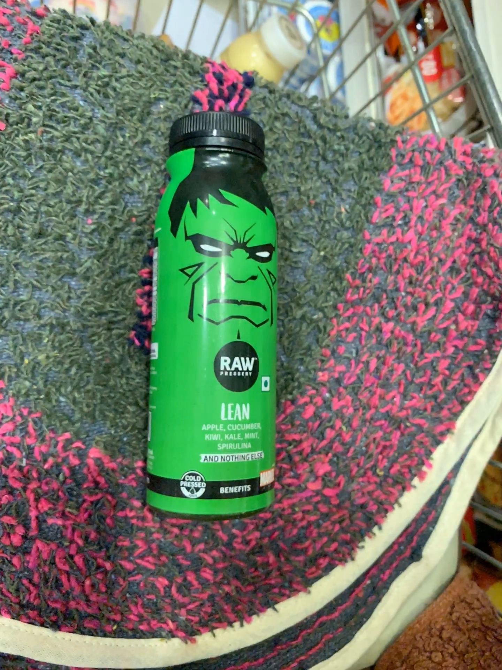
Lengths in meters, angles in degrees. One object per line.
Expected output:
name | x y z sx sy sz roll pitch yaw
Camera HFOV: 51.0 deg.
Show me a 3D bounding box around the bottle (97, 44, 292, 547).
bottle | -0.024 -0.013 0.198 0.060 0.050 0.160 2 83 -19
